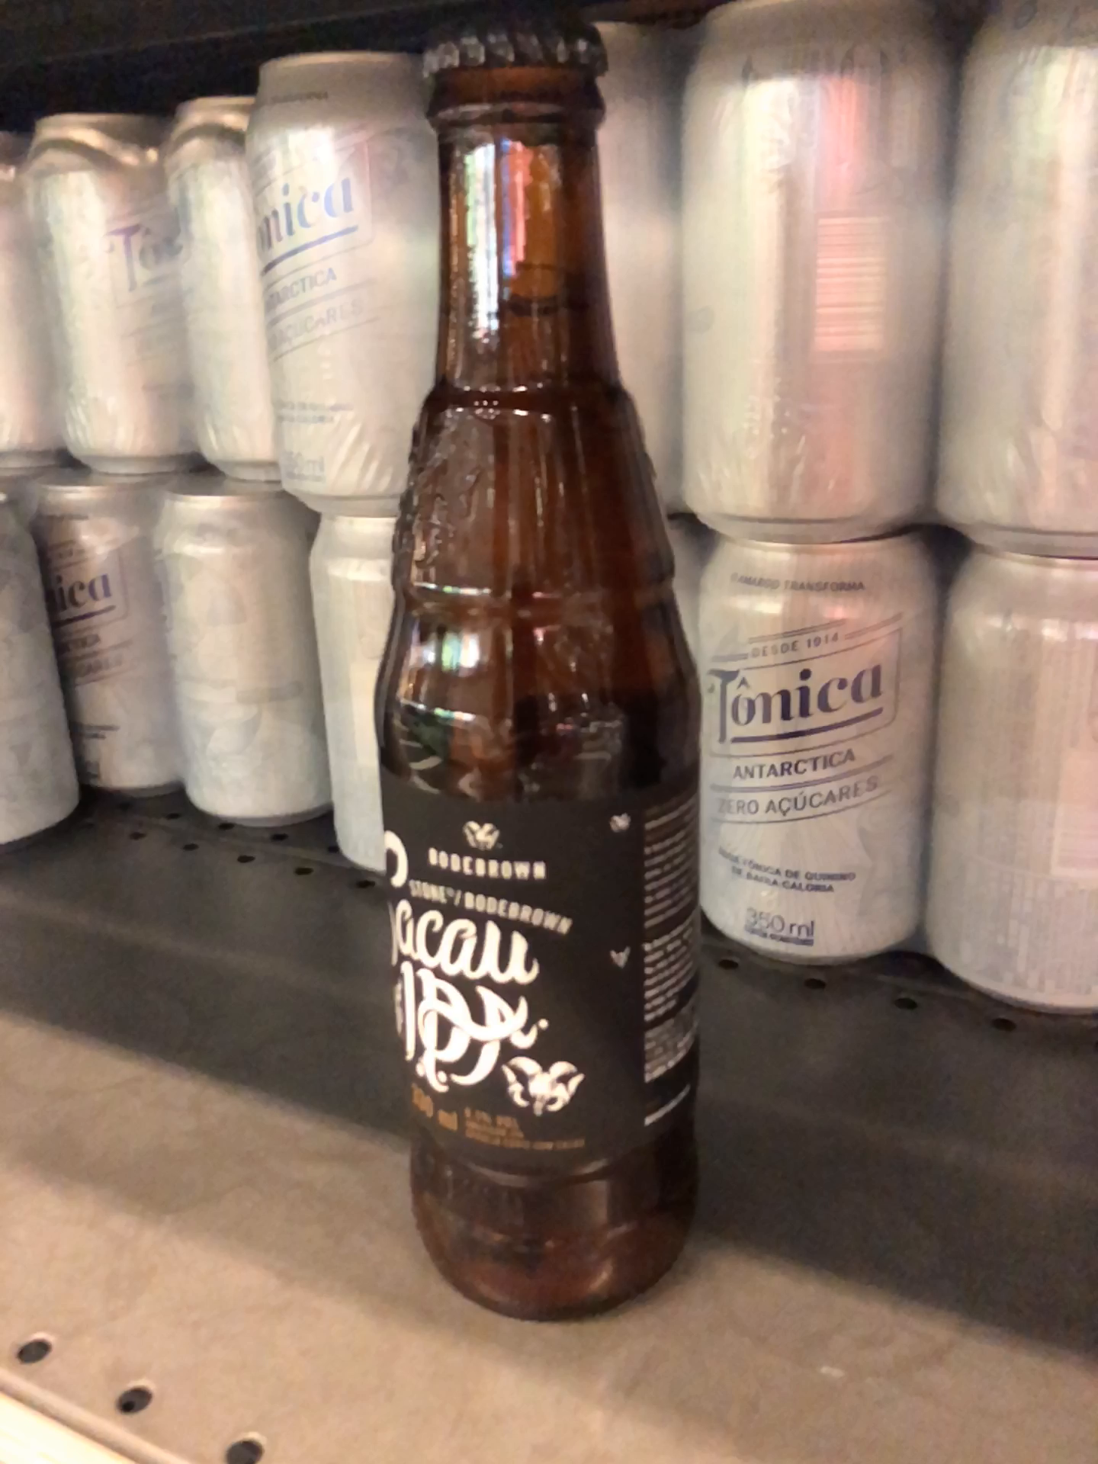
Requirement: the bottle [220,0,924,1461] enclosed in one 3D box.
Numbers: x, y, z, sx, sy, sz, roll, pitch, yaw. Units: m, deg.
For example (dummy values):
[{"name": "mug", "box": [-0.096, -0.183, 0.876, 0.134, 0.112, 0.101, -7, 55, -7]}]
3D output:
[{"name": "bottle", "box": [0.009, -0.001, 0.227, 0.080, 0.248, 0.070, 13, 26, 35]}]
